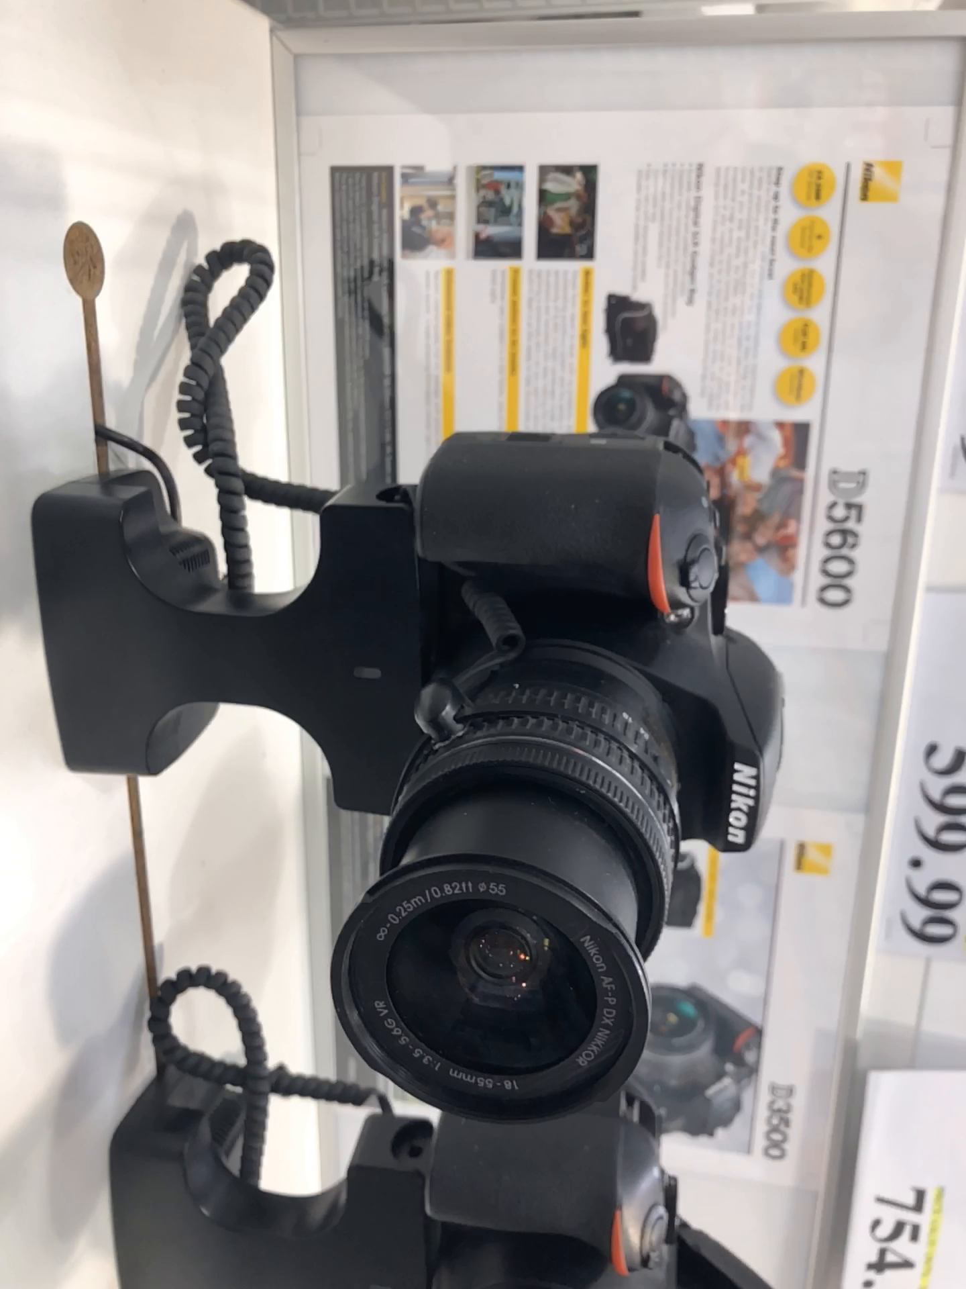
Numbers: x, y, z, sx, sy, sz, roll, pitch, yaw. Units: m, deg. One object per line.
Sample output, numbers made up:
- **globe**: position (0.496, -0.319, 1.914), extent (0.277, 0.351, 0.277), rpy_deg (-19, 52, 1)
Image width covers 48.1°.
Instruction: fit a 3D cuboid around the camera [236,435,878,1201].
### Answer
- **camera**: position (0.026, 0.025, 0.280), extent (0.160, 0.110, 0.120), rpy_deg (-65, 156, -64)
